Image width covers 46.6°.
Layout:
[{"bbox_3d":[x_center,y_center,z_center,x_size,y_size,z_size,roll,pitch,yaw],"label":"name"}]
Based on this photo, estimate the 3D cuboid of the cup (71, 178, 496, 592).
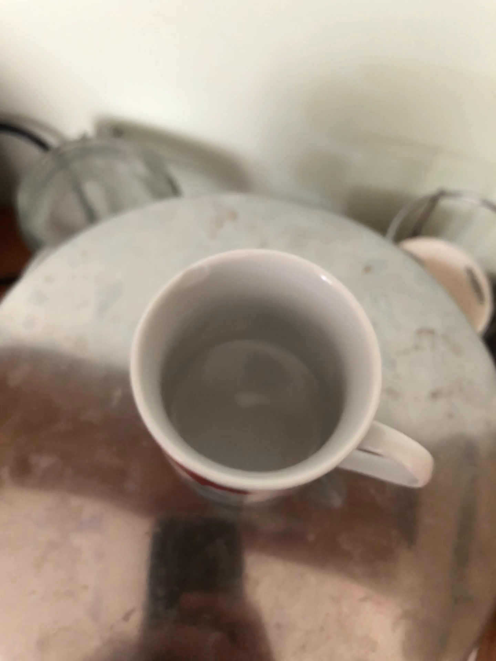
[{"bbox_3d":[0.013,0.017,0.146,0.080,0.060,0.060,23,69,5],"label":"cup"}]
